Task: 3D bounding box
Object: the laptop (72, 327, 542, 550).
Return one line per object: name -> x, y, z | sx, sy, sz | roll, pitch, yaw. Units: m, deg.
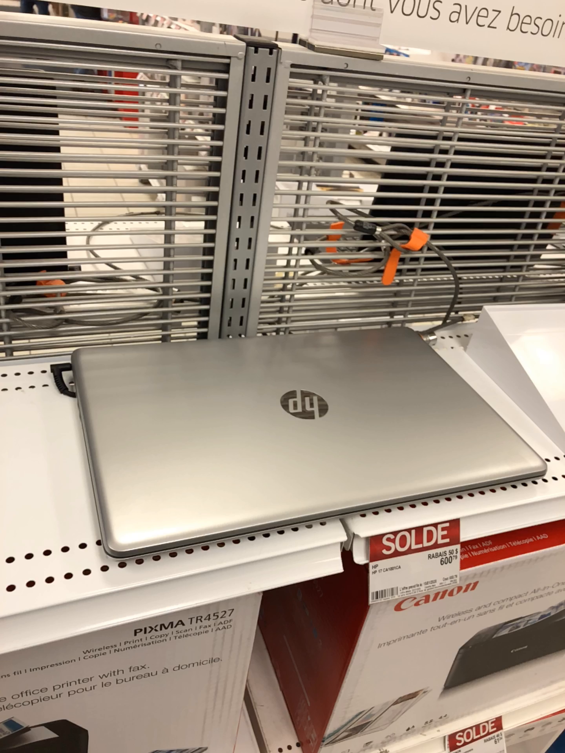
laptop -> 0.014, 0.032, 0.644 | 0.416, 0.002, 0.278 | -6, 36, -21
